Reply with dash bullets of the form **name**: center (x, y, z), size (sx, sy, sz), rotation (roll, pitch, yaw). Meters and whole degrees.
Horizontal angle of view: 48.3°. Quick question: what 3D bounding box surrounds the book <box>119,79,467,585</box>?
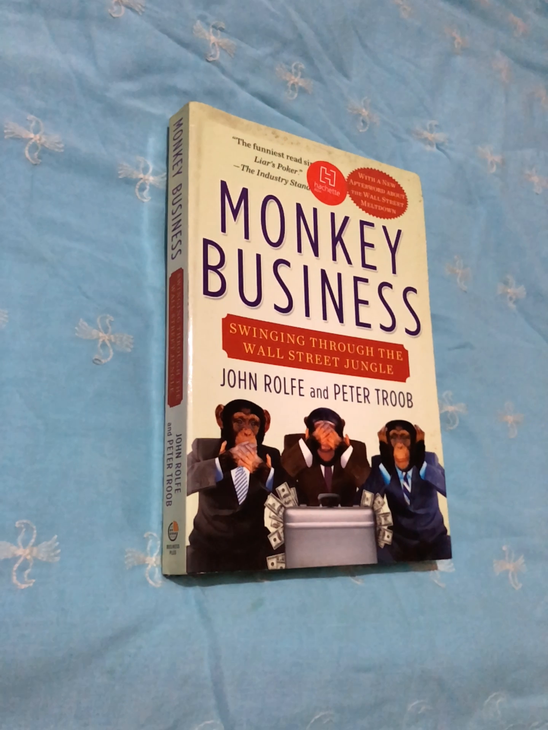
- **book**: center (0.019, -0.010, 0.328), size (0.171, 0.040, 0.240), rotation (11, 70, -28)
